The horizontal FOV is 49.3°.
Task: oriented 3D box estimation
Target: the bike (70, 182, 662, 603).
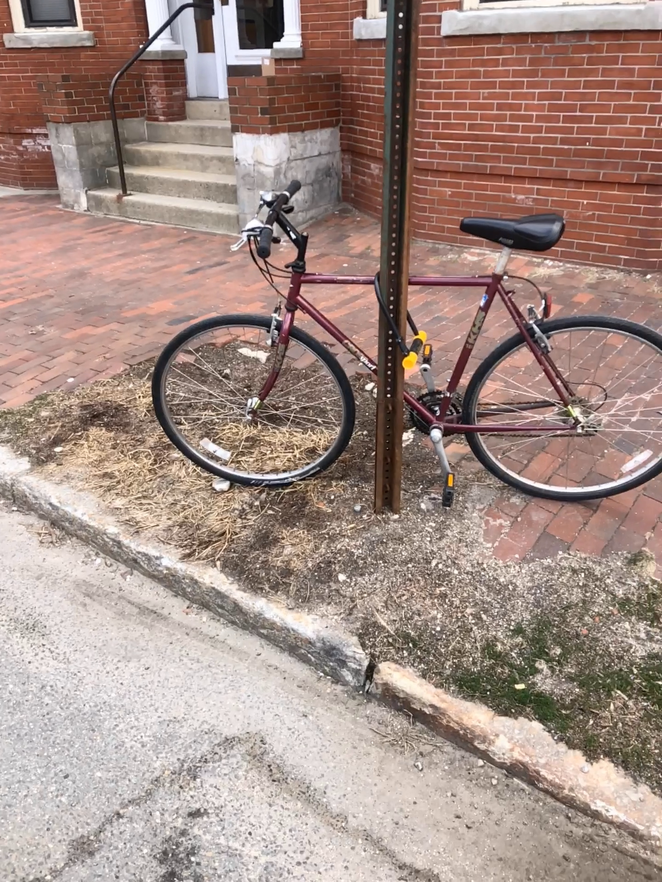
[{"bbox_3d":[0.254,-0.206,2.211,1.726,1.011,0.672,4,28,9],"label":"bike"}]
